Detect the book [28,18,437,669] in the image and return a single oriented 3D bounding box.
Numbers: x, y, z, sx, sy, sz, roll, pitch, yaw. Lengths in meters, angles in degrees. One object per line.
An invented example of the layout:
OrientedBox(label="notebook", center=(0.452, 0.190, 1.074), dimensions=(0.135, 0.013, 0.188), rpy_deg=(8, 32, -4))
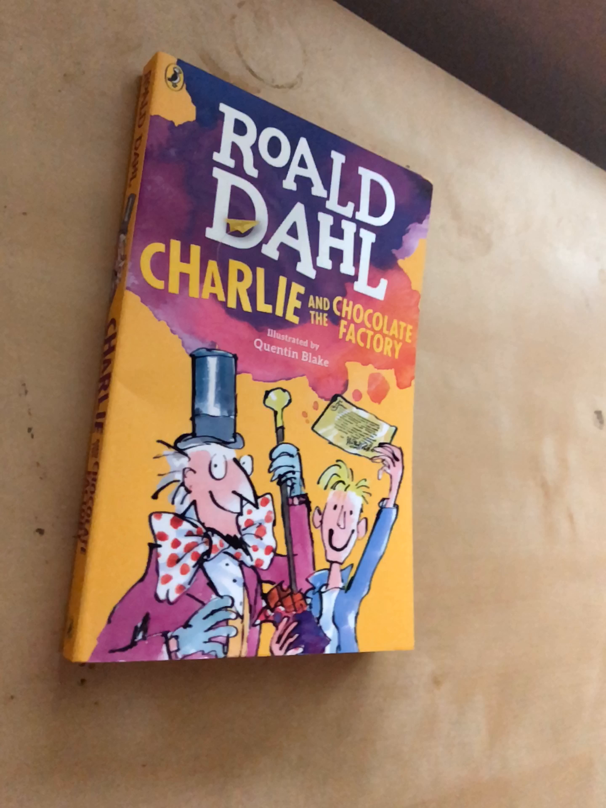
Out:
OrientedBox(label="book", center=(-0.014, -0.014, 0.254), dimensions=(0.135, 0.040, 0.201), rpy_deg=(12, 77, -35))
